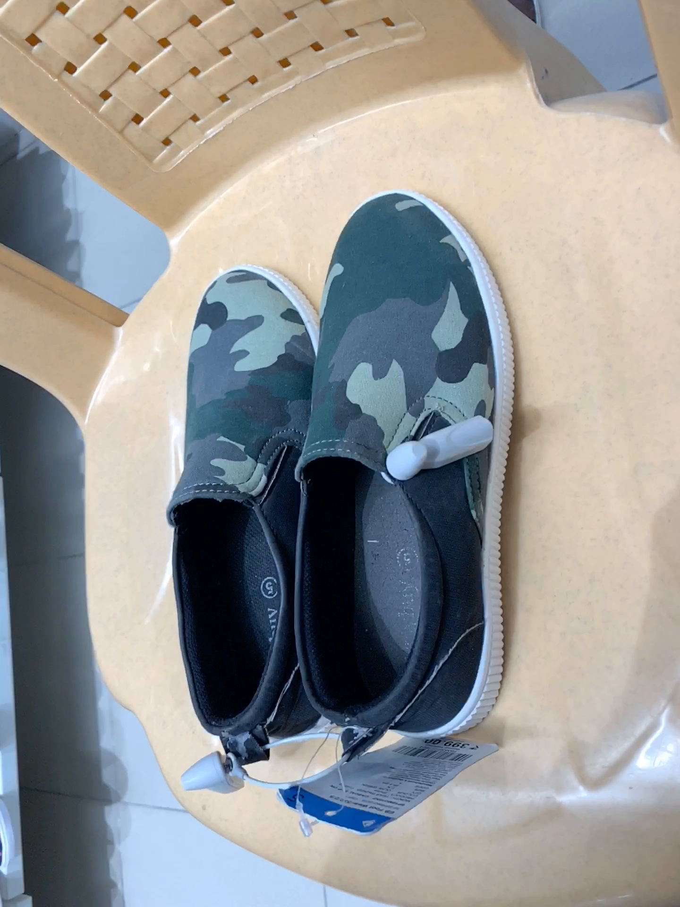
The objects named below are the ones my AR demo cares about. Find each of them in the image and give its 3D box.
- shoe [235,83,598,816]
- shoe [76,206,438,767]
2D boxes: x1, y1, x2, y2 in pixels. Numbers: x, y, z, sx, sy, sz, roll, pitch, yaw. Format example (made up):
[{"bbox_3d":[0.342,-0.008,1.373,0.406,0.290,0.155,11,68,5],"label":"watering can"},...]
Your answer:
[{"bbox_3d":[0.030,0.000,0.290,0.090,0.100,0.240,-12,77,34],"label":"shoe"},{"bbox_3d":[-0.042,0.017,0.336,0.090,0.100,0.220,-20,76,32],"label":"shoe"}]
